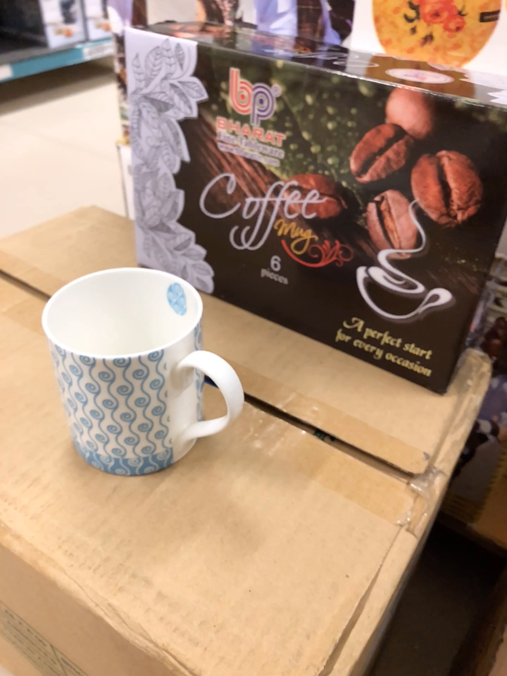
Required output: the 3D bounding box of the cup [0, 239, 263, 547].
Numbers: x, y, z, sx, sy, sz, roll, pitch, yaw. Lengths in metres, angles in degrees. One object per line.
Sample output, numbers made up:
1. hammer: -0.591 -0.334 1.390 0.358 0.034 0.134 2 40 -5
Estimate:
1. cup: -0.062 0.022 0.276 0.110 0.089 0.070 24 44 24
